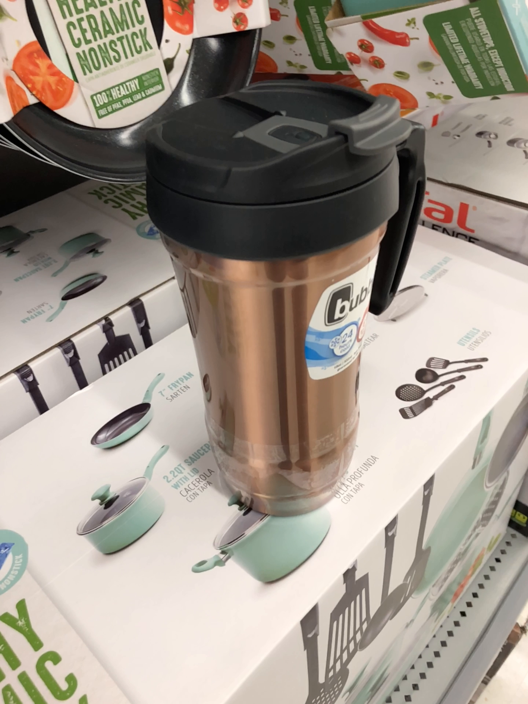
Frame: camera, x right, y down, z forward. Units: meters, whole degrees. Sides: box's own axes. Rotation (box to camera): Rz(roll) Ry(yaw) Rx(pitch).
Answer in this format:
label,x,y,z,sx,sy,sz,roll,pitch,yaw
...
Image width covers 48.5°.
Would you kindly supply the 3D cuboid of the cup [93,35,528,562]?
label,x,y,z,sx,sy,sz,roll,pitch,yaw
cup,0.027,-0.026,0.276,0.093,0.182,0.143,32,52,33
